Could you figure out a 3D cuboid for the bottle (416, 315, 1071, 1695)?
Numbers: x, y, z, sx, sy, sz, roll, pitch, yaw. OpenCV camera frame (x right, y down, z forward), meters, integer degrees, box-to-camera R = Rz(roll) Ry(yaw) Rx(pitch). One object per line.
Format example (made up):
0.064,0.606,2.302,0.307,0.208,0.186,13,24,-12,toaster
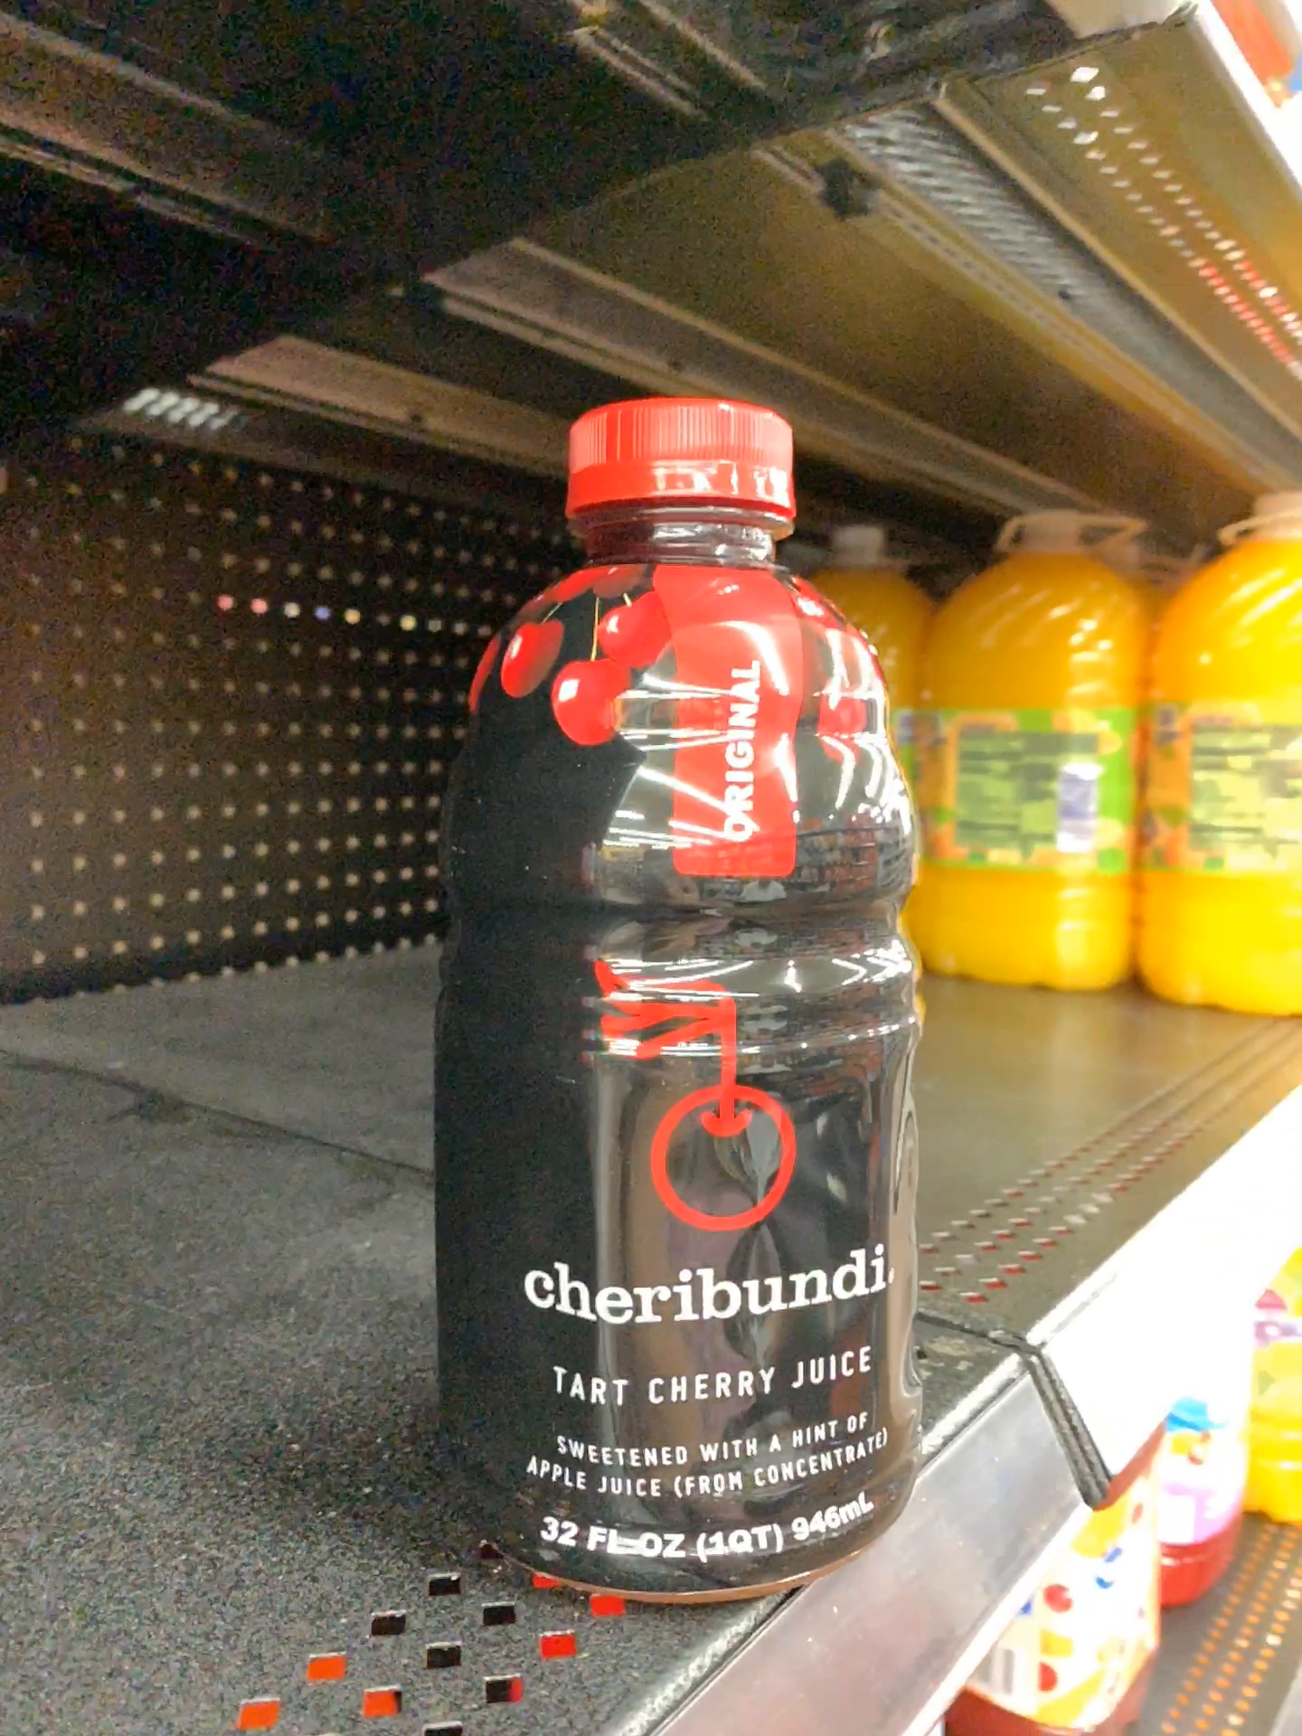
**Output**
0.006,0.020,0.251,0.095,0.205,0.090,2,6,0,bottle
